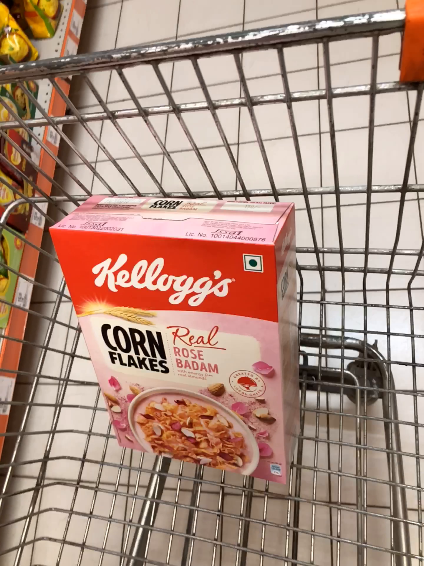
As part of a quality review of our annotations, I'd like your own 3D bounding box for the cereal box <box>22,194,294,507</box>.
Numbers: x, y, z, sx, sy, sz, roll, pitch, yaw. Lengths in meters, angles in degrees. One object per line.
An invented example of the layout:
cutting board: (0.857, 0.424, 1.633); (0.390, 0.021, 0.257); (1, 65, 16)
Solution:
cereal box: (-0.028, 0.062, 0.413); (0.180, 0.259, 0.080); (5, 34, 19)
